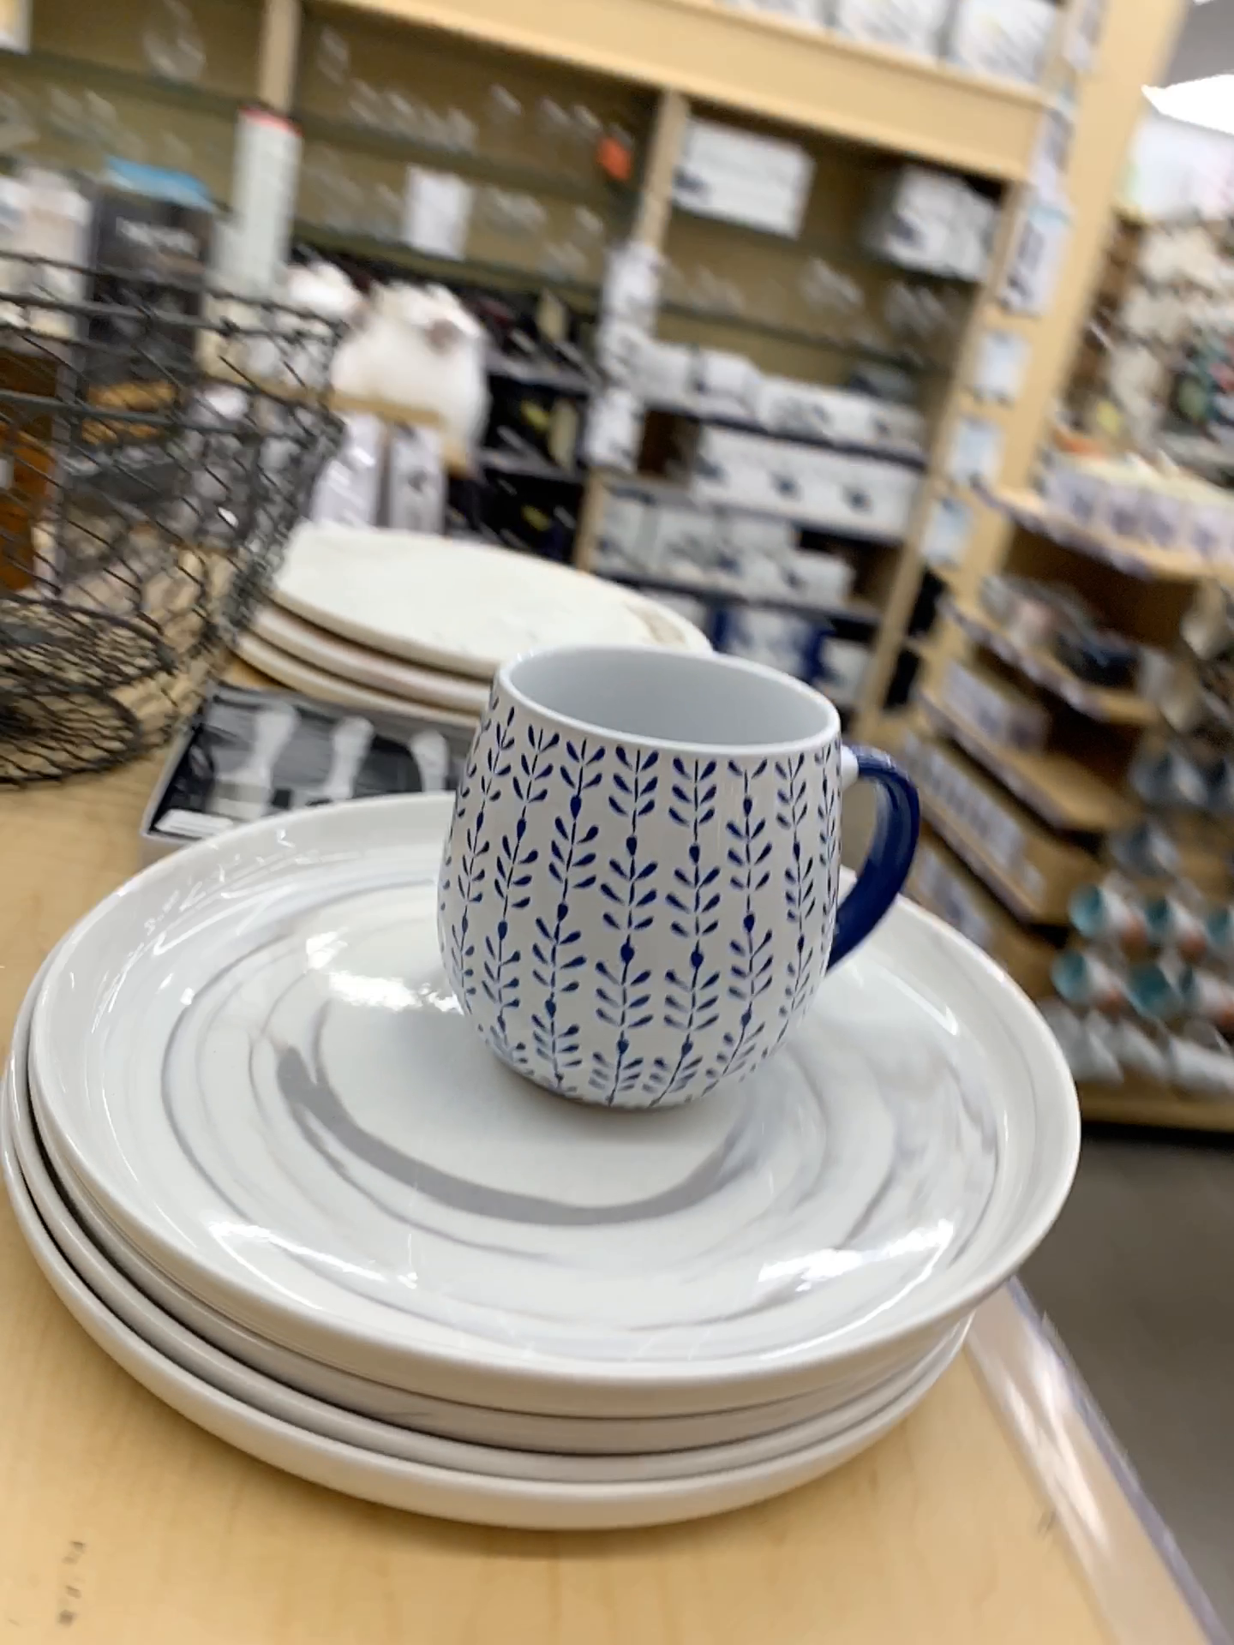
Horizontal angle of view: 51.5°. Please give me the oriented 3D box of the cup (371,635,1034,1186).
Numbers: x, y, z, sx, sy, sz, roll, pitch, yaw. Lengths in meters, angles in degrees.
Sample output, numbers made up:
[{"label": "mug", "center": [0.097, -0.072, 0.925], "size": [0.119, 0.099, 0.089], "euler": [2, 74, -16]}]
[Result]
[{"label": "cup", "center": [0.015, 0.014, 0.345], "size": [0.128, 0.097, 0.104], "euler": [-2, 27, -28]}]
